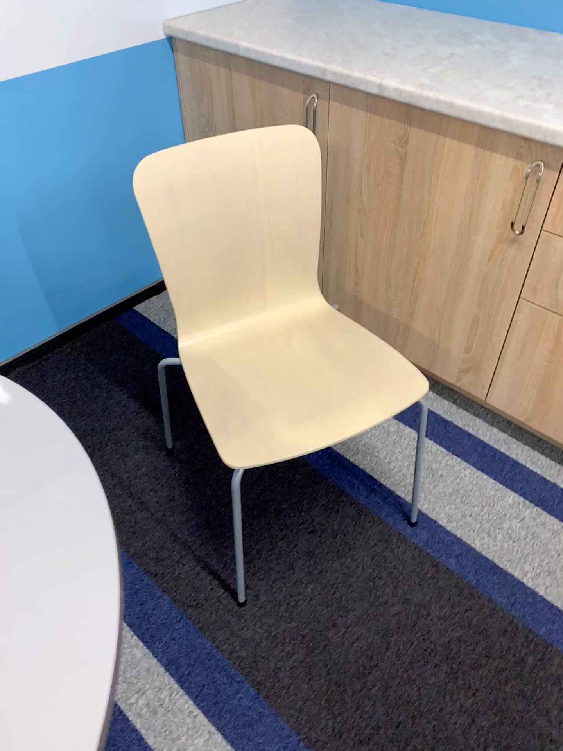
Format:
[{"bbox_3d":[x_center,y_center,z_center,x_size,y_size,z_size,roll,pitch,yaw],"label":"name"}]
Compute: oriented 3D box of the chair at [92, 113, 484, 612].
[{"bbox_3d":[-0.021,-0.021,1.278,0.477,0.836,0.572,-19,45,-18],"label":"chair"}]
